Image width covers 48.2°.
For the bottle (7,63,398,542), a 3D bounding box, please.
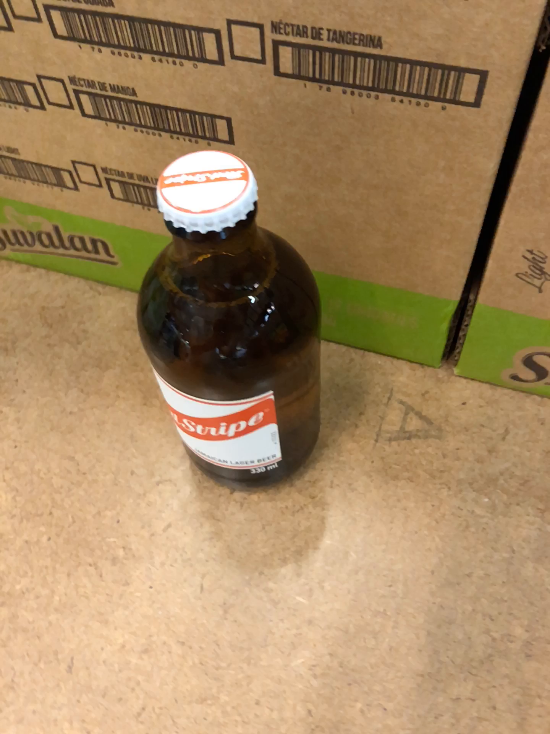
[{"bbox_3d":[-0.015,-0.010,0.233,0.080,0.159,0.070,30,64,21],"label":"bottle"}]
